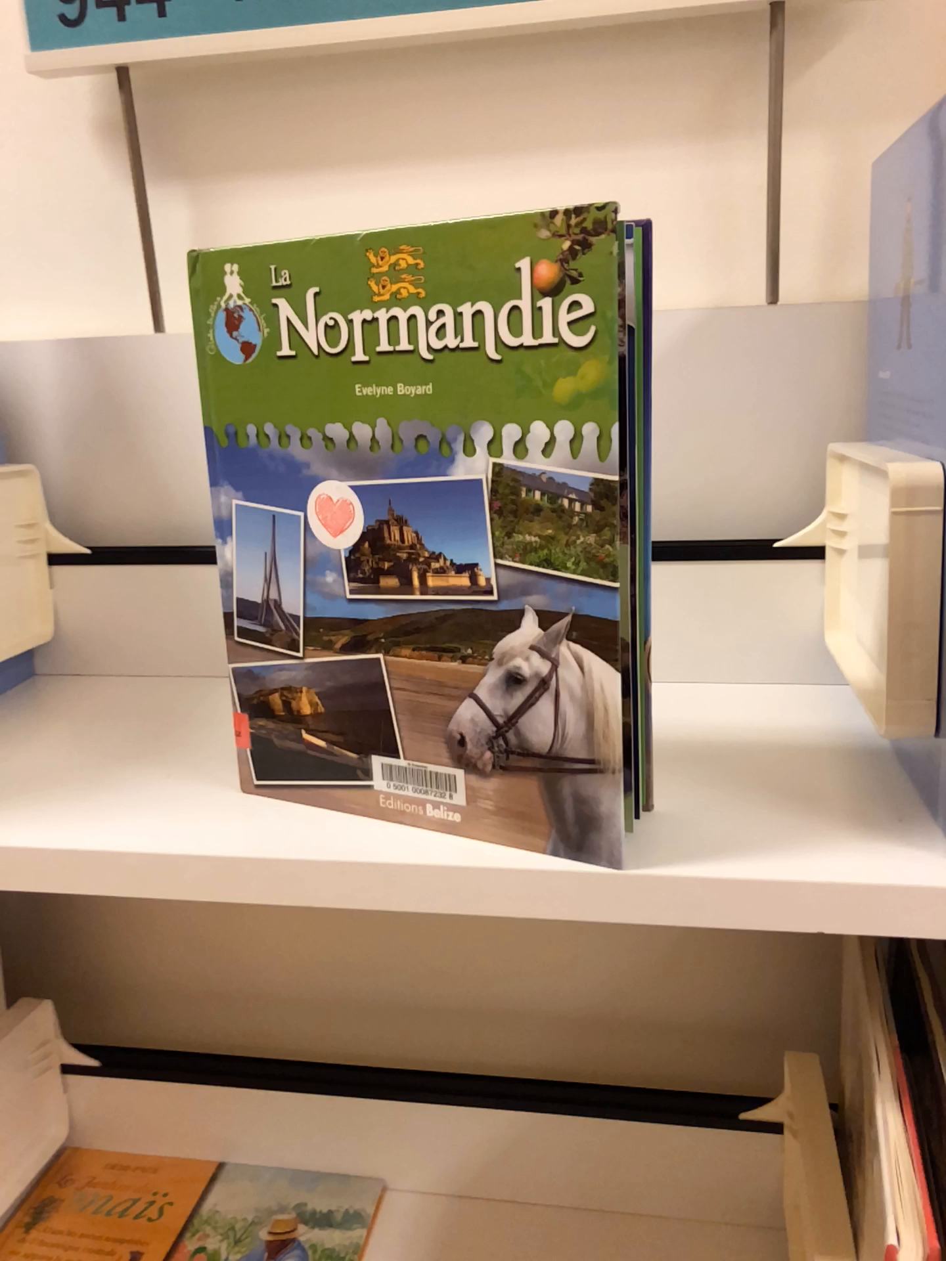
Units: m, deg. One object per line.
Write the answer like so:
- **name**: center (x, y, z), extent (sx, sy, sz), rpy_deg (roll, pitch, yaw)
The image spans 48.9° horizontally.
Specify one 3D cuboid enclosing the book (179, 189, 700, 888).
- **book**: center (-0.015, -0.042, 0.455), extent (0.207, 0.249, 0.077), rpy_deg (7, 16, 33)
